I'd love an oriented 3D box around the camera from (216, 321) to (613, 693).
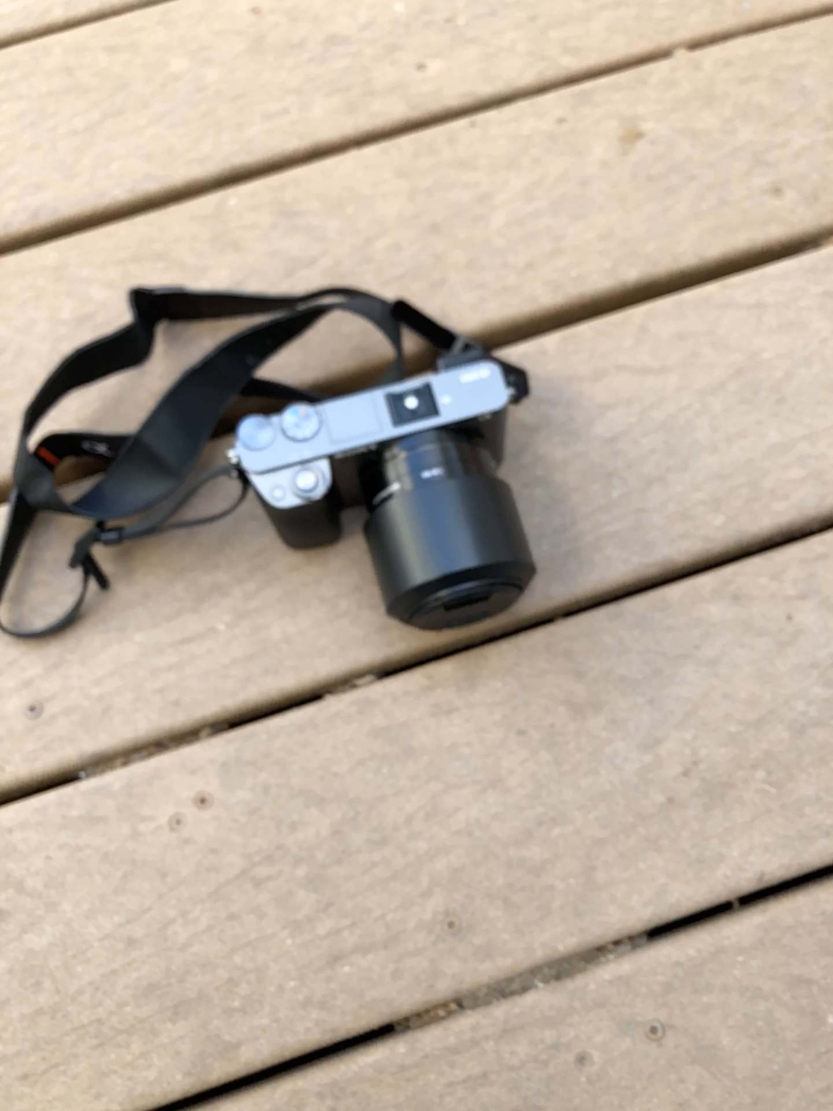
[{"bbox_3d":[-0.003,-0.018,0.397,0.130,0.070,0.110,-15,71,-4],"label":"camera"}]
